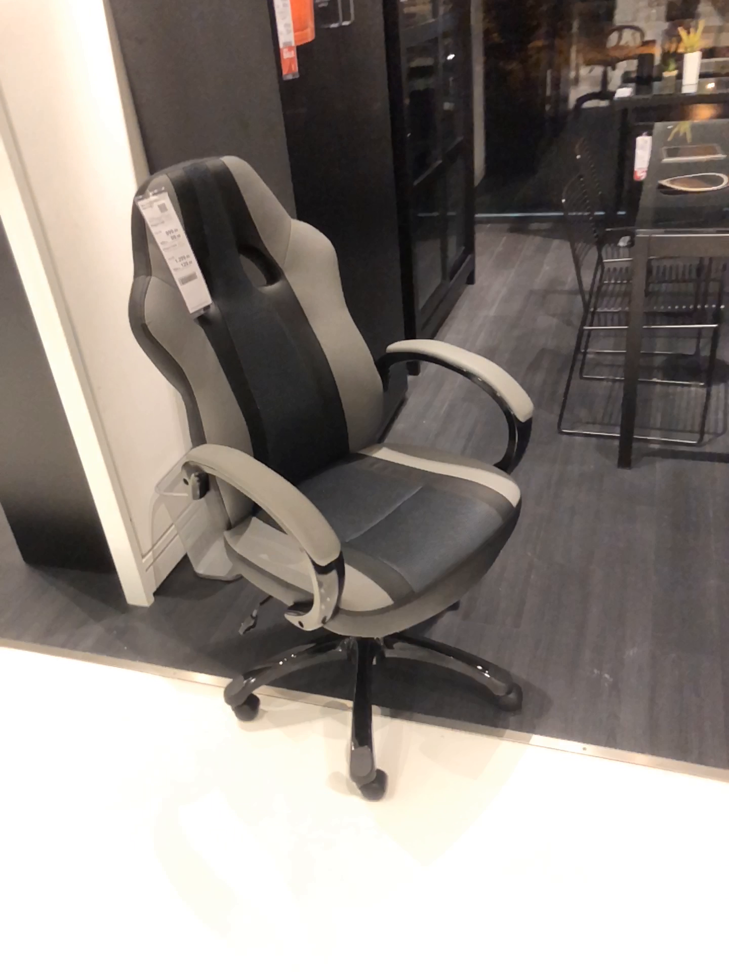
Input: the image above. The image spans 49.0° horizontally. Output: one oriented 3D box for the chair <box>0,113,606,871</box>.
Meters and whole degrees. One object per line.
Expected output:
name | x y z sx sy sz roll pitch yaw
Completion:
chair | -0.079 -0.058 1.627 0.783 1.161 0.713 23 43 39
